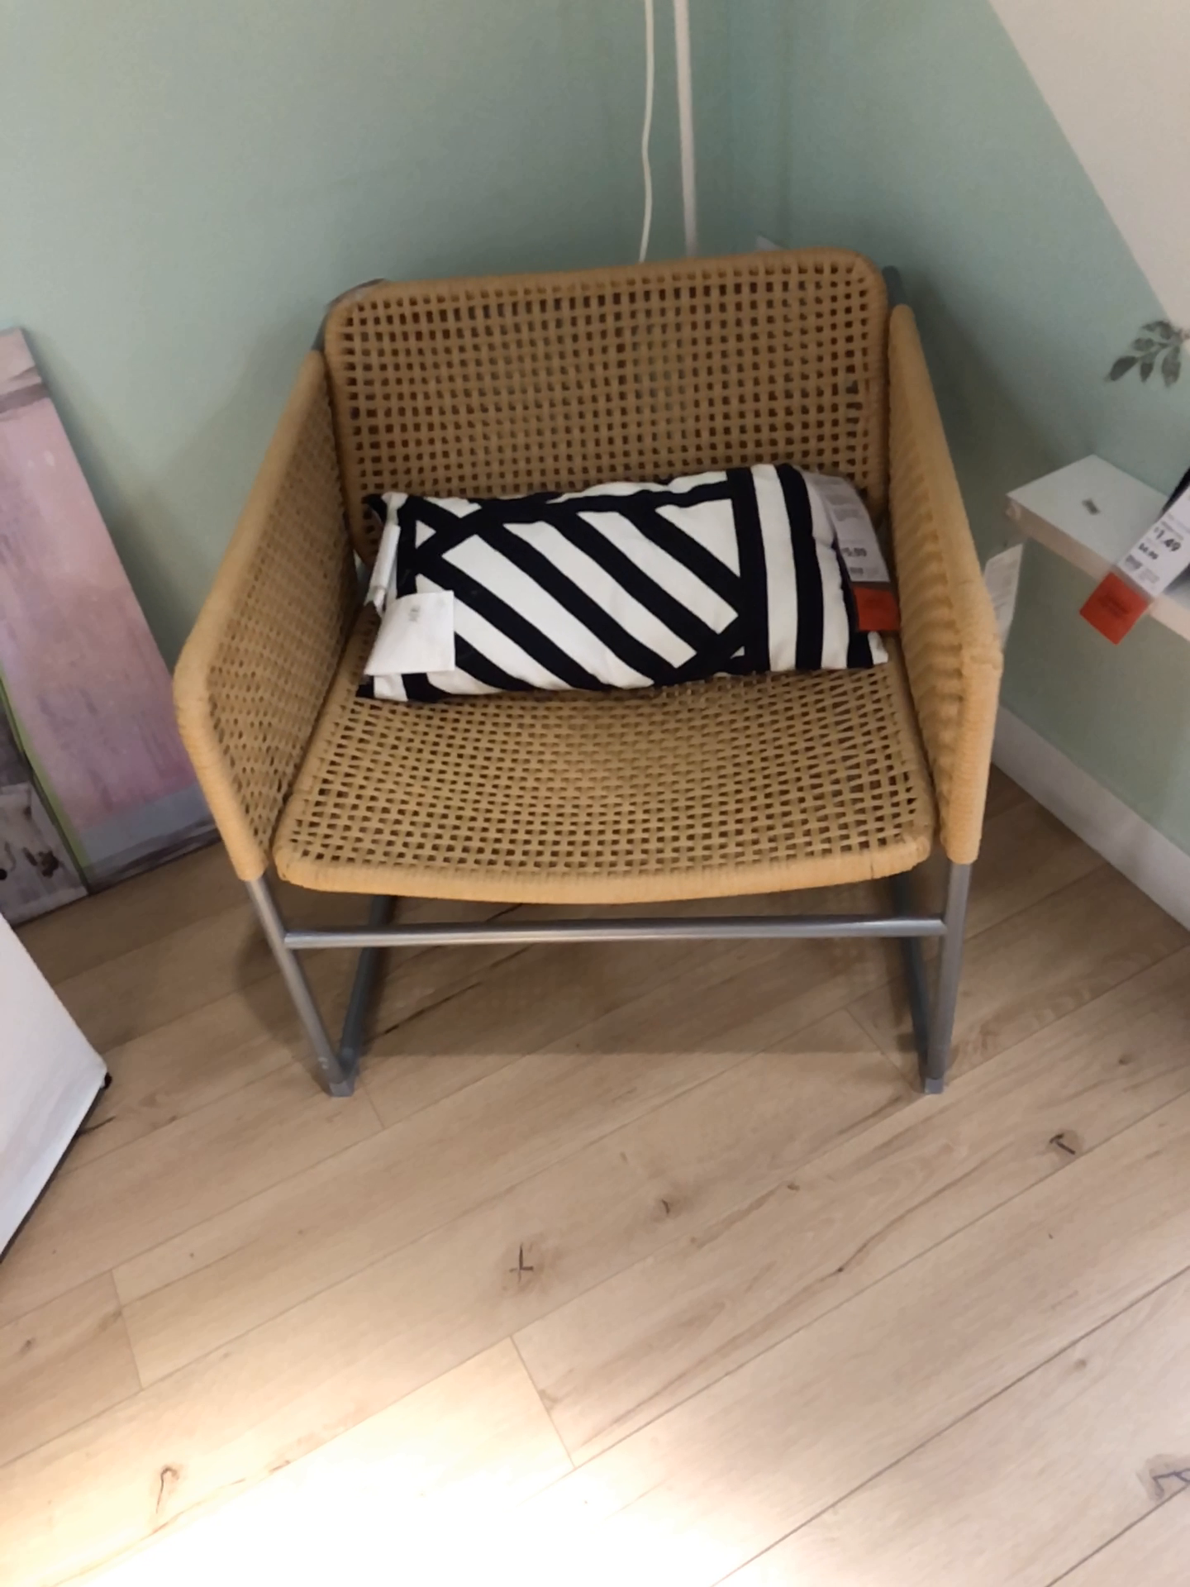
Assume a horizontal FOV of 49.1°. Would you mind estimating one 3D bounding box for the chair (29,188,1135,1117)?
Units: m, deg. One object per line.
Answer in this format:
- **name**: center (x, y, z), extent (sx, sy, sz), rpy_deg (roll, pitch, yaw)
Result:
- **chair**: center (0.024, -0.154, 1.408), extent (0.790, 0.628, 0.753), rpy_deg (-2, 45, 6)
